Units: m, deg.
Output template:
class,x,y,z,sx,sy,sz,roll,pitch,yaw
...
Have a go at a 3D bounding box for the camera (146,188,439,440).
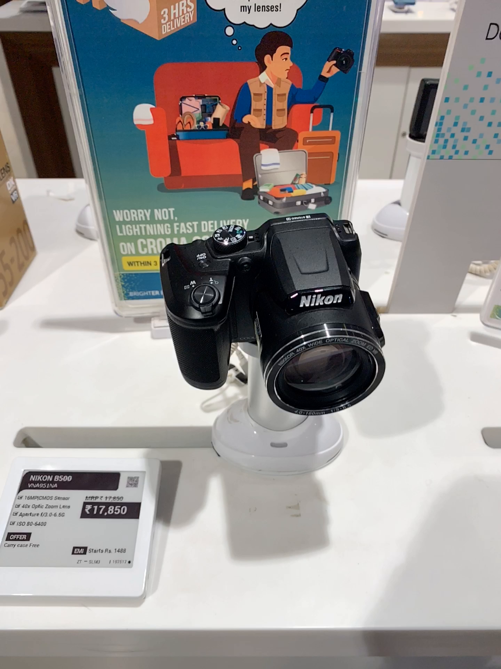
class,x,y,z,sx,sy,sz,roll,pitch,yaw
camera,0.012,-0.014,0.269,0.120,0.080,0.090,-6,41,-7
